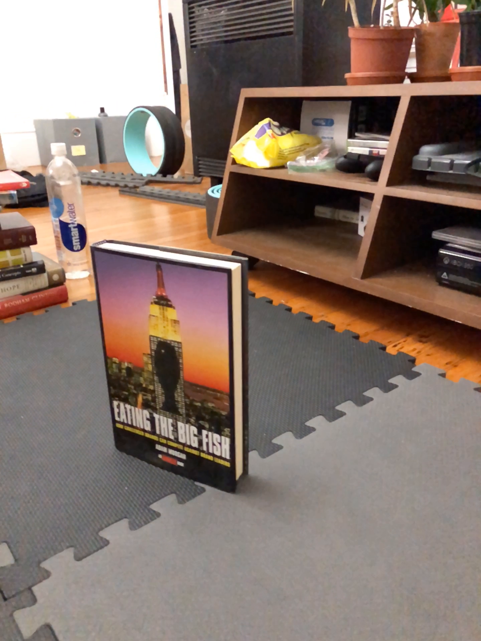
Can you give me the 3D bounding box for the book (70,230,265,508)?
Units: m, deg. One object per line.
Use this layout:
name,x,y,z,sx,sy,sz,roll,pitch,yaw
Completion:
book,-0.069,0.048,0.544,0.180,0.259,0.050,10,27,26
